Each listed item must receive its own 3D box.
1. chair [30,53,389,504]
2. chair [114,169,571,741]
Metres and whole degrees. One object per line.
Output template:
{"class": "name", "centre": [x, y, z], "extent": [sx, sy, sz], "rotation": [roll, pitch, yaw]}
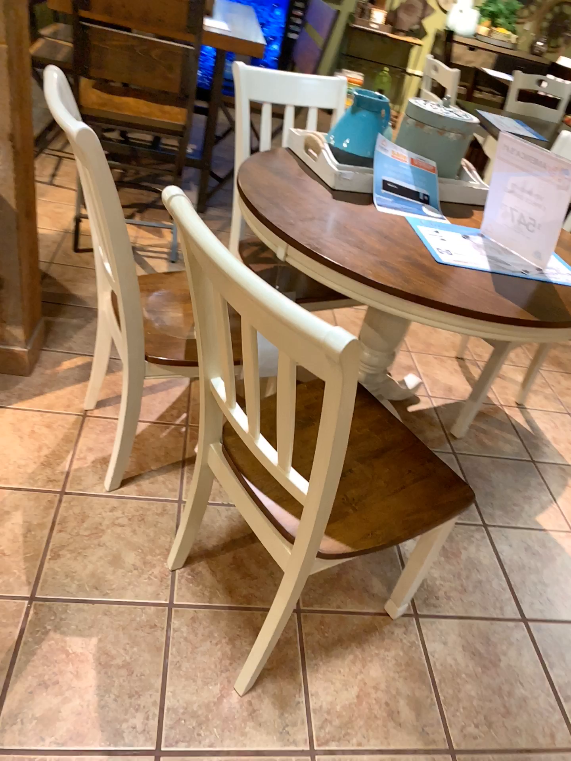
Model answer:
{"class": "chair", "centre": [-0.263, -0.229, 1.493], "extent": [0.633, 0.900, 0.492], "rotation": [-6, 41, -27]}
{"class": "chair", "centre": [0.078, 0.120, 1.153], "extent": [0.634, 0.891, 0.491], "rotation": [-13, 45, -34]}
